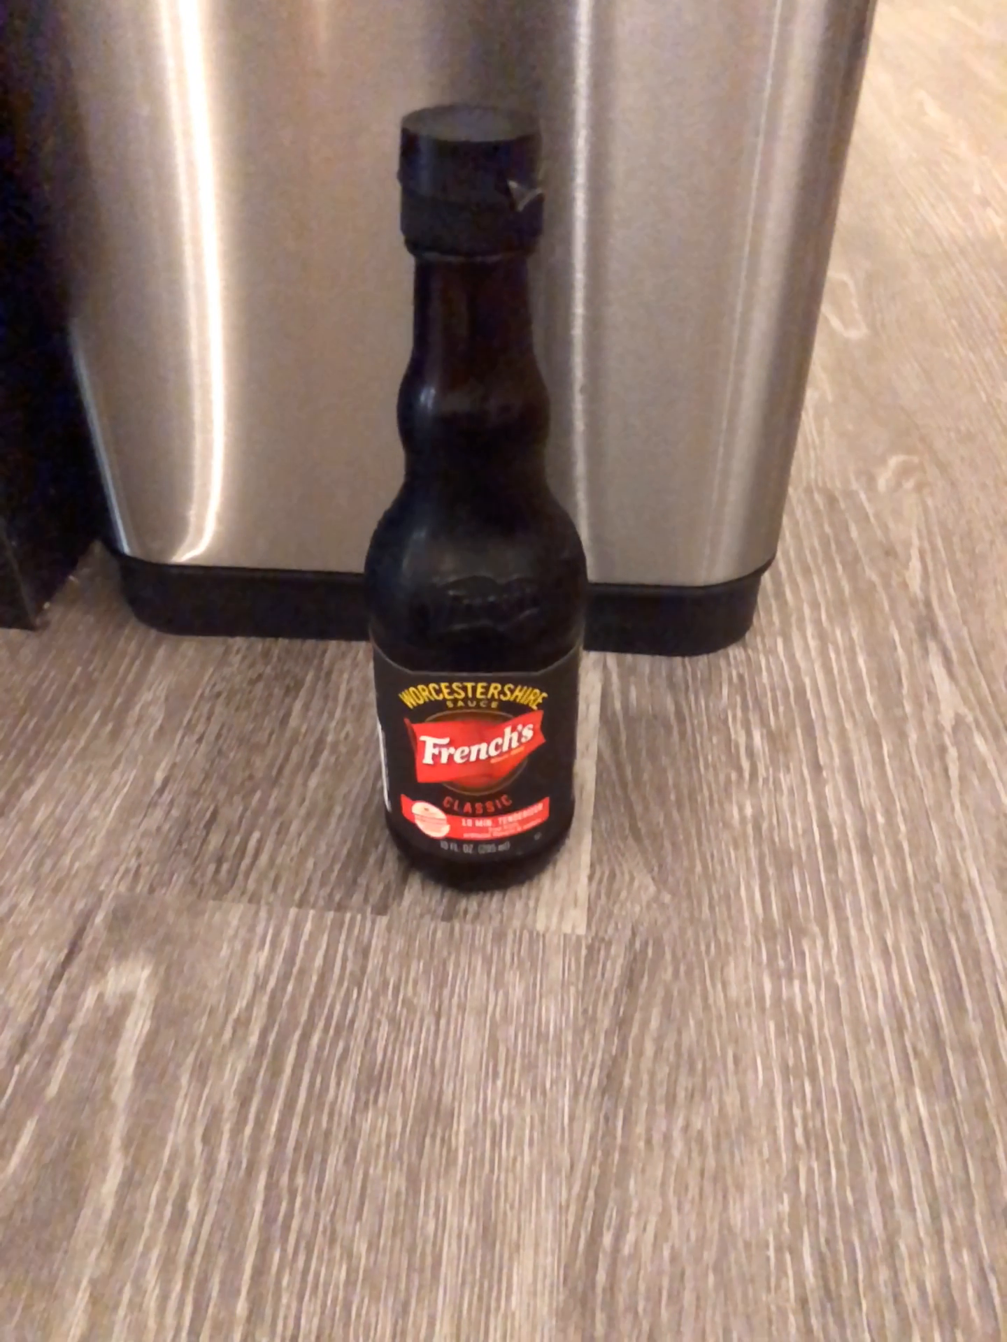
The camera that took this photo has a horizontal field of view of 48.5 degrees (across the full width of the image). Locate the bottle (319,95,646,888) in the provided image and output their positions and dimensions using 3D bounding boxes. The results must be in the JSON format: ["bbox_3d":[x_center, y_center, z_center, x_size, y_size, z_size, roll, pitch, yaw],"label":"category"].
[{"bbox_3d":[-0.005,-0.033,0.290,0.060,0.199,0.060,0,38,0],"label":"bottle"}]
